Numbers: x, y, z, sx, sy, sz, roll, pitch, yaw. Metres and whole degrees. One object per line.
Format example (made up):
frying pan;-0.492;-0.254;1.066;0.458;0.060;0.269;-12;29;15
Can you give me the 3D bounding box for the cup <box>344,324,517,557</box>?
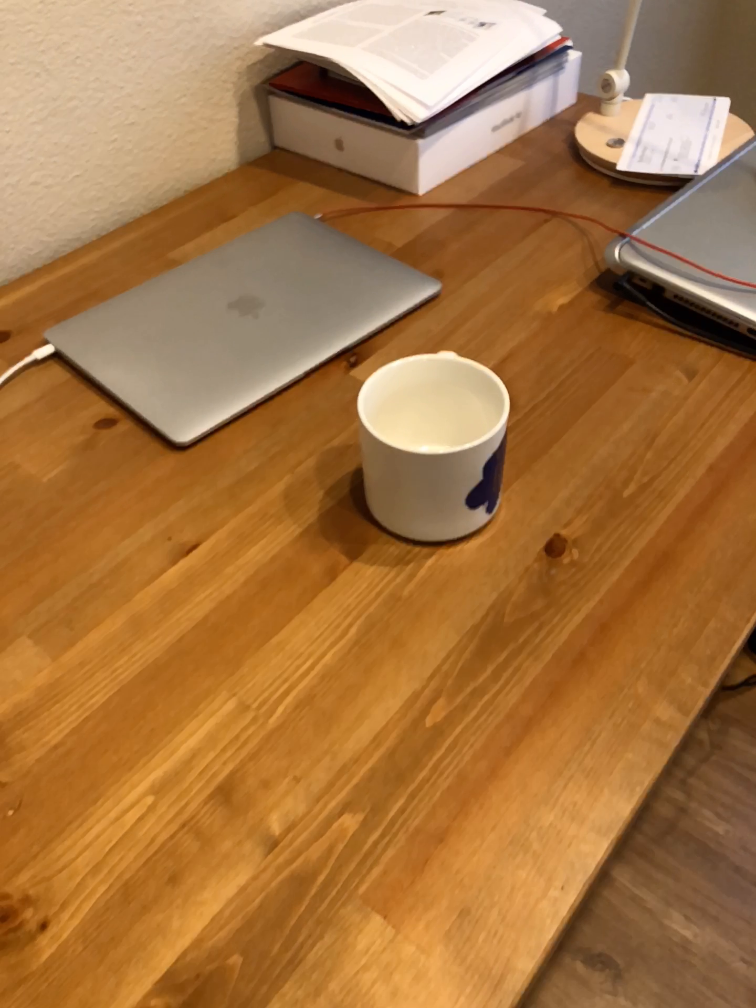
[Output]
cup;0.040;-0.046;0.577;0.100;0.090;0.130;4;46;7
